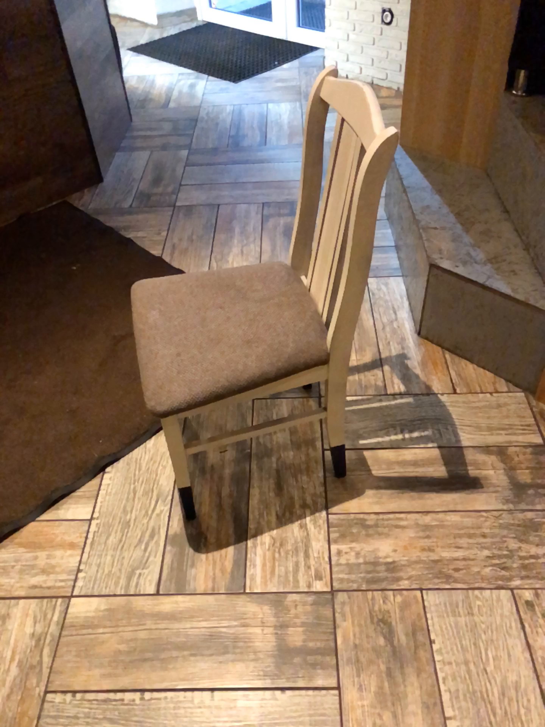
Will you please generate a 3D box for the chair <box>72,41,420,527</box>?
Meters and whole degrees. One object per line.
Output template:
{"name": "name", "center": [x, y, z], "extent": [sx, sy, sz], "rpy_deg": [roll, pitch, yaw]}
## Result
{"name": "chair", "center": [-0.071, -0.140, 1.352], "extent": [0.519, 0.916, 0.481], "rpy_deg": [-10, 44, -9]}
